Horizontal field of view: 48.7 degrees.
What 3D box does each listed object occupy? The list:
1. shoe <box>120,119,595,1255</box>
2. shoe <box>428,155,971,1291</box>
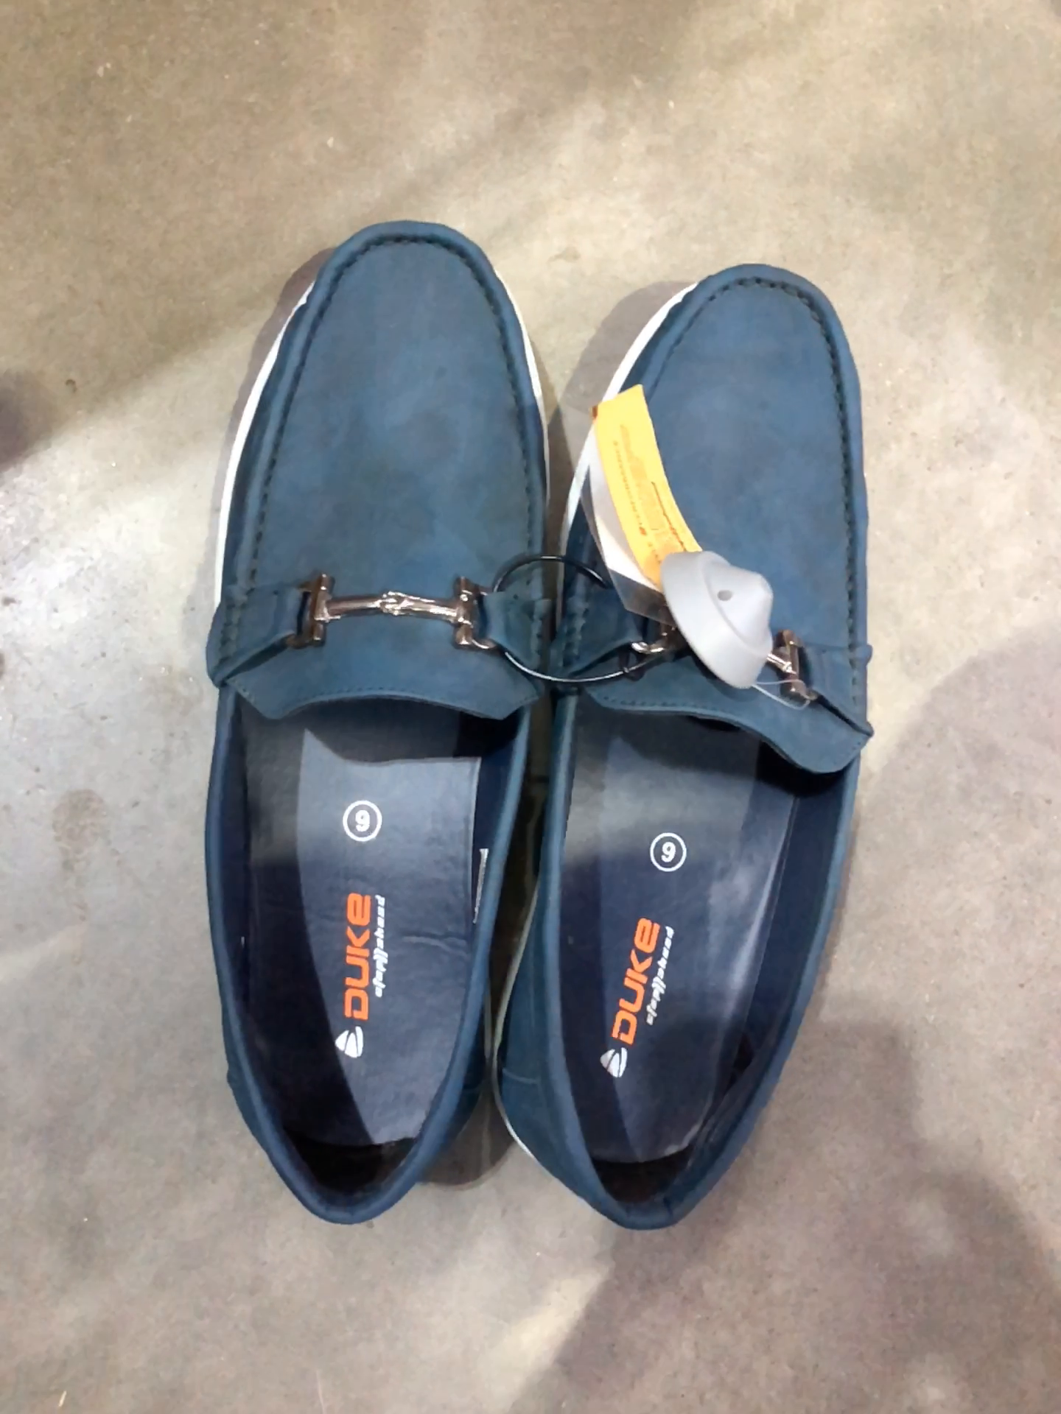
[{"bbox_3d":[-0.049,-0.005,0.366,0.110,0.080,0.310,4,87,-6],"label":"shoe"},{"bbox_3d":[0.048,0.004,0.374,0.110,0.080,0.310,10,87,-5],"label":"shoe"}]
